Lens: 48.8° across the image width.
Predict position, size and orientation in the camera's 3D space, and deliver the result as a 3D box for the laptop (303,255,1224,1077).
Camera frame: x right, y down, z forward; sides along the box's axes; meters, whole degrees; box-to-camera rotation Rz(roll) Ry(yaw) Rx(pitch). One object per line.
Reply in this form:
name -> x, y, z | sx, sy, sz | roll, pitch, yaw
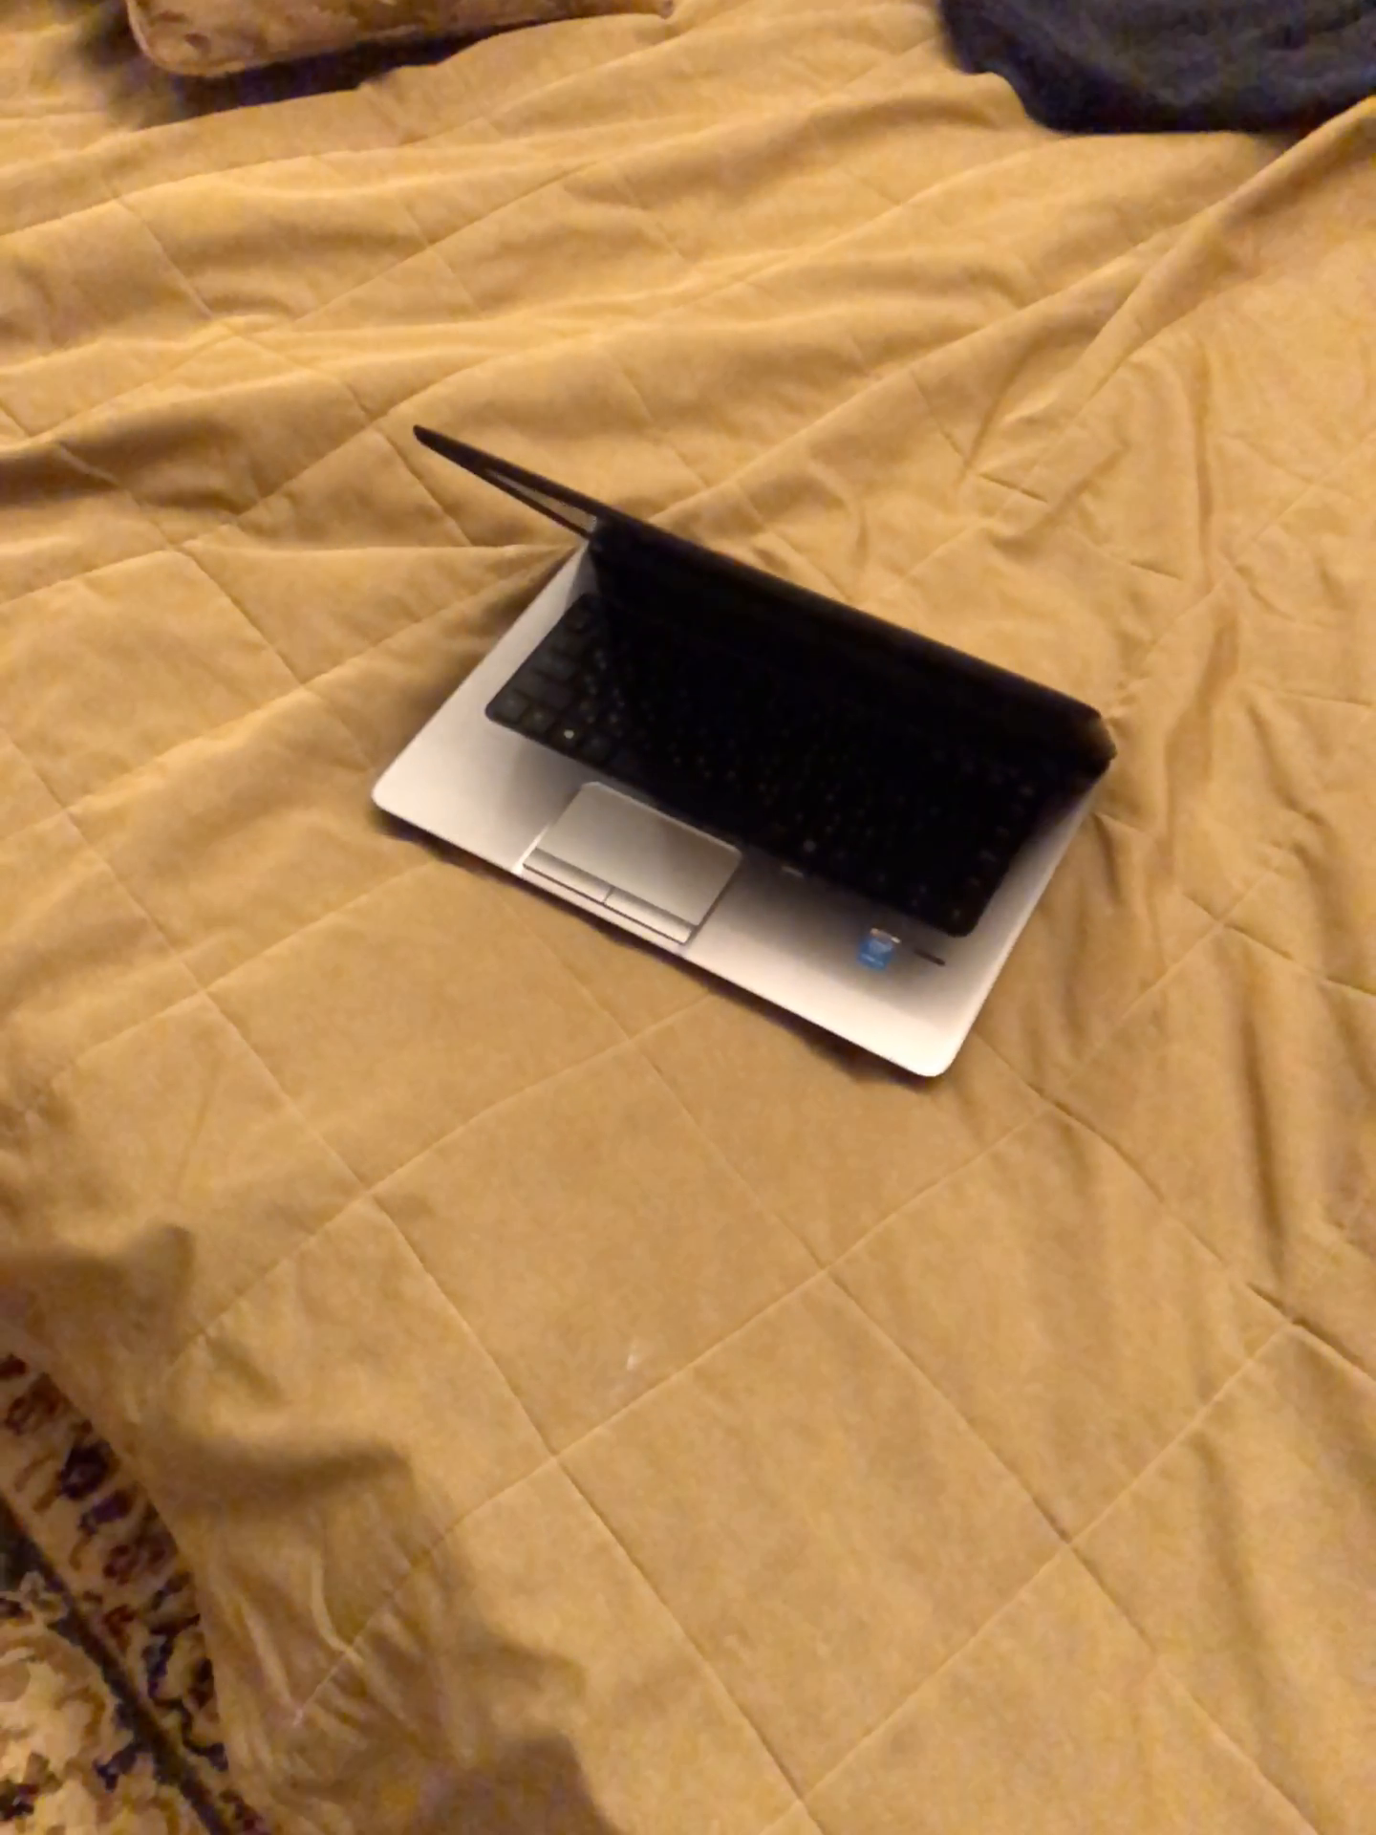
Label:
laptop -> 0.035, -0.125, 0.736 | 0.331, 0.189, 0.226 | 26, 60, 13
